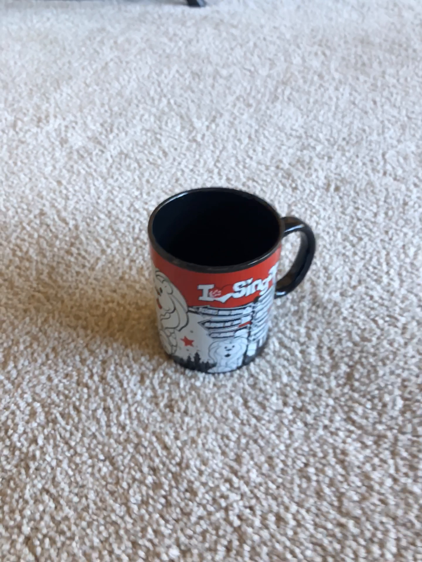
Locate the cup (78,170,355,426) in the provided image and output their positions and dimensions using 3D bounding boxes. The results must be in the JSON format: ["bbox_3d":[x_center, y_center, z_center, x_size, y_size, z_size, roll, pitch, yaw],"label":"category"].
[{"bbox_3d":[0.000,0.005,0.297,0.130,0.090,0.090,-17,46,-17],"label":"cup"}]
